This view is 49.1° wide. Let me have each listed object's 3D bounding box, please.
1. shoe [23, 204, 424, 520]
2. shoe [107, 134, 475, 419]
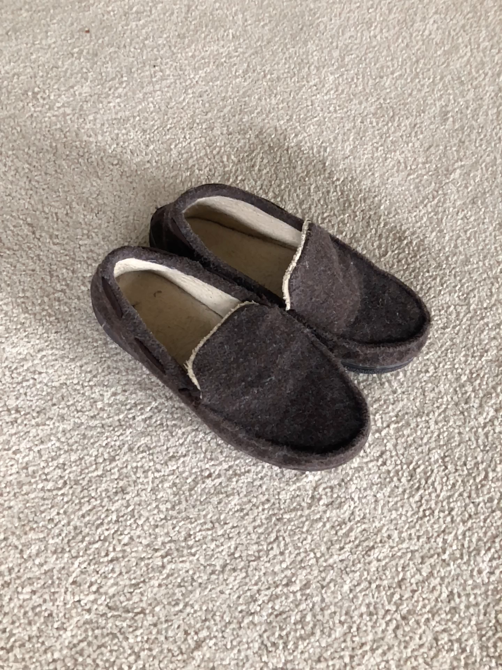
[{"bbox_3d":[-0.026,0.025,0.499,0.317,0.096,0.120,30,66,6],"label":"shoe"},{"bbox_3d":[0.034,-0.056,0.539,0.316,0.096,0.119,28,65,5],"label":"shoe"}]
